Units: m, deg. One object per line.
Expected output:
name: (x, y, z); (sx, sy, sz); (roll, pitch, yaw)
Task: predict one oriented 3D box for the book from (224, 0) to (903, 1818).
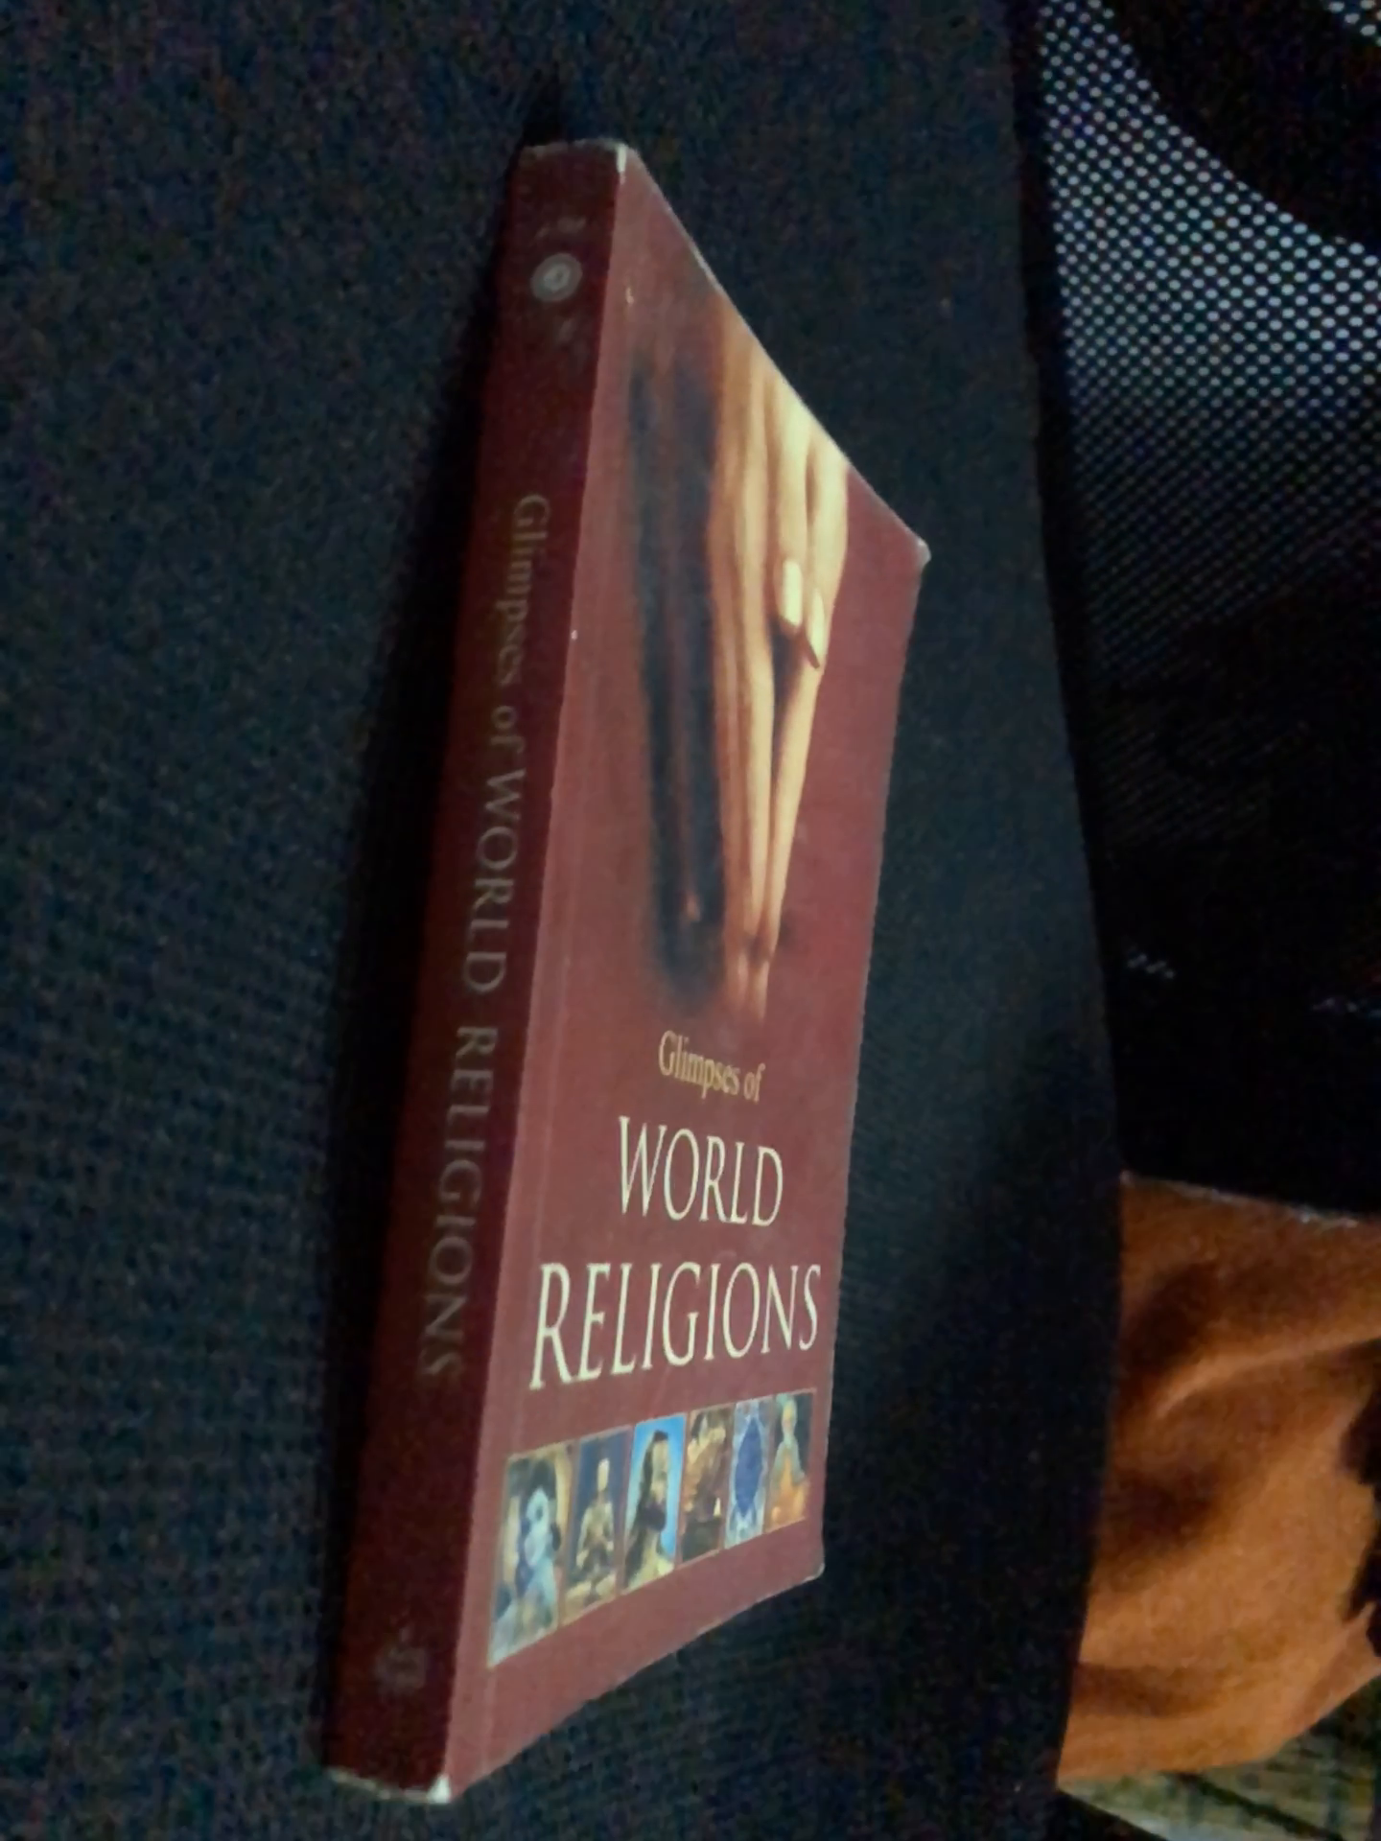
book: (-0.002, 0.001, 0.231); (0.141, 0.020, 0.200); (30, 64, -65)
